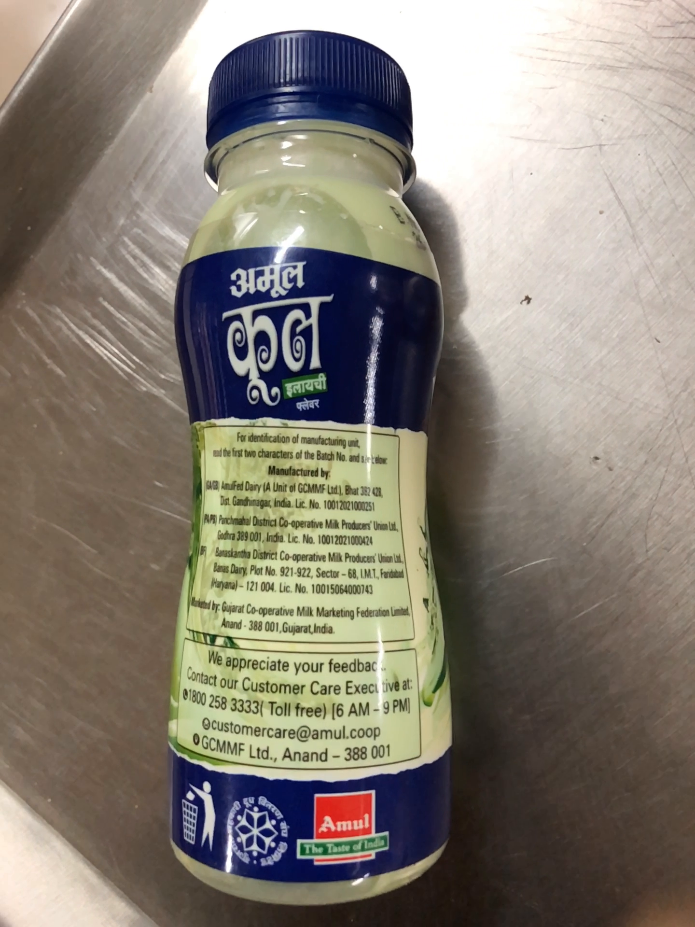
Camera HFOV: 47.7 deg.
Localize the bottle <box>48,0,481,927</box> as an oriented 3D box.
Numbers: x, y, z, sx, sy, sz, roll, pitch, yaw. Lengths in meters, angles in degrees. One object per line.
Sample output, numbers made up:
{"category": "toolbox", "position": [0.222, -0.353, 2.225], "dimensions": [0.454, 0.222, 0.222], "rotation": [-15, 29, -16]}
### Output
{"category": "bottle", "position": [-0.008, -0.008, 0.117], "dimensions": [0.050, 0.040, 0.150], "rotation": [-1, 85, 16]}
